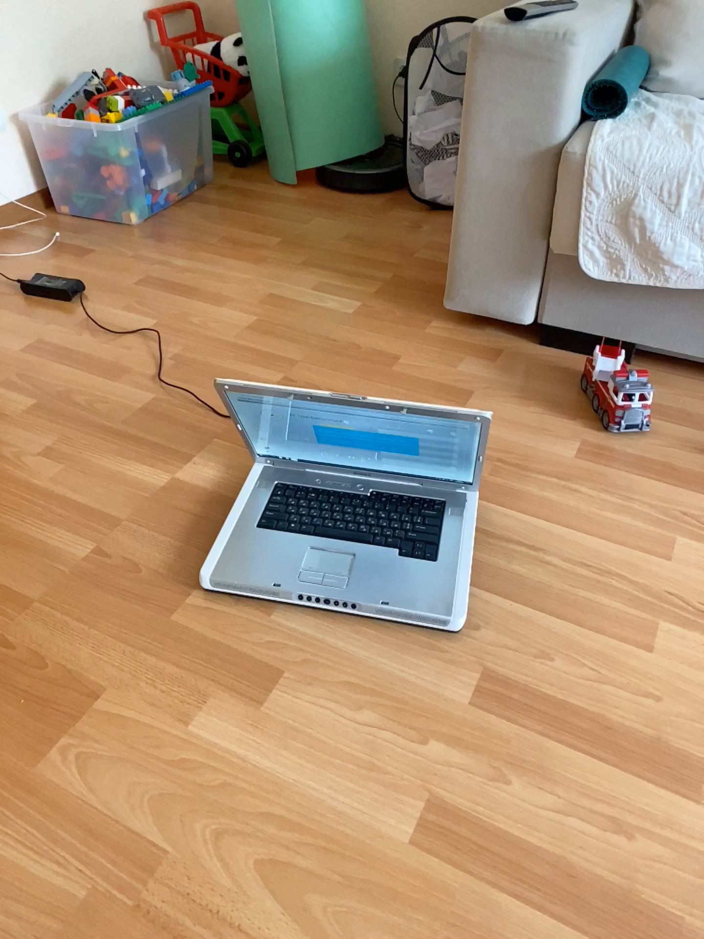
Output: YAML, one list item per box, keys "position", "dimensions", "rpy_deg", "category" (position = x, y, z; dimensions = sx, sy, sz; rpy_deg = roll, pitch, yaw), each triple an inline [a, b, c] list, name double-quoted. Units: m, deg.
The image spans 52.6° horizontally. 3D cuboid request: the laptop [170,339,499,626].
- position: [-0.006, 0.007, 1.019]
  dimensions: [0.386, 0.238, 0.275]
  rpy_deg: [8, 39, 9]
  category: "laptop"
